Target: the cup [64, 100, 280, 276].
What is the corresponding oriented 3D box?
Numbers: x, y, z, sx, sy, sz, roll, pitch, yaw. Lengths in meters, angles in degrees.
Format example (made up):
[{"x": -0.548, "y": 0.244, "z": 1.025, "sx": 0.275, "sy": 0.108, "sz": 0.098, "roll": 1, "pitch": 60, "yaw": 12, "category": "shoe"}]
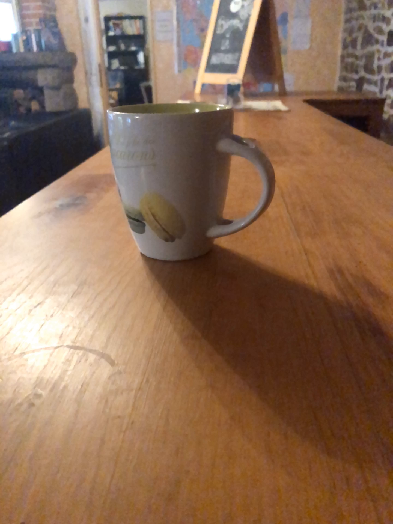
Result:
[{"x": -0.011, "y": -0.064, "z": 0.325, "sx": 0.120, "sy": 0.099, "sz": 0.098, "roll": 9, "pitch": 26, "yaw": 22, "category": "cup"}]
